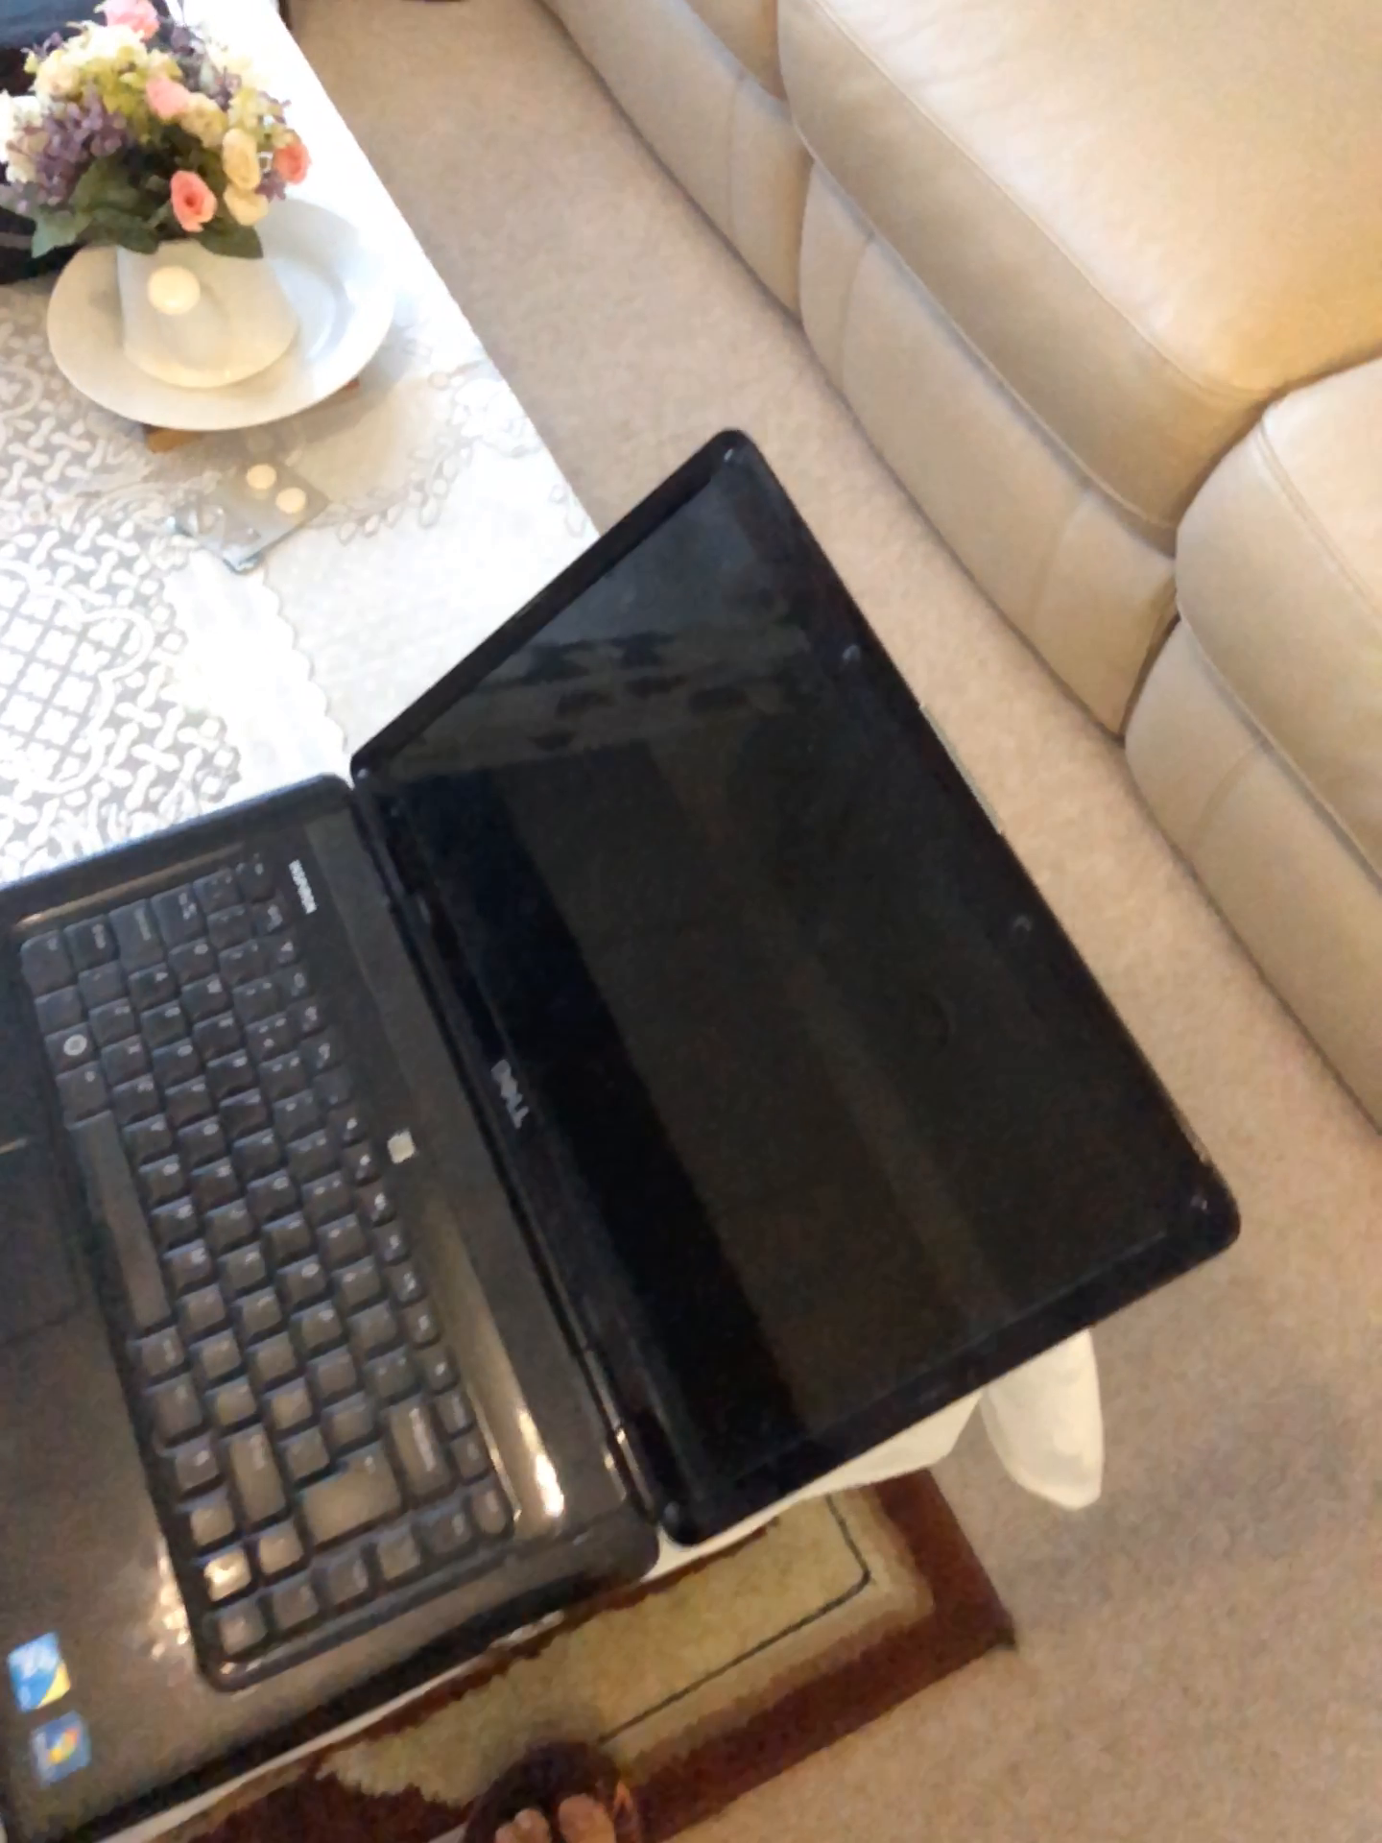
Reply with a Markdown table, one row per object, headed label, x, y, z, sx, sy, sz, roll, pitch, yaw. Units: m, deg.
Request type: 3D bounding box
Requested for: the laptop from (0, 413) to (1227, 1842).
| label | x | y | z | sx | sy | sz | roll | pitch | yaw |
| --- | --- | --- | --- | --- | --- | --- | --- | --- | --- |
| laptop | -0.097 | 0.048 | 0.567 | 0.418 | 0.122 | 0.365 | -23 | 66 | -11 |
